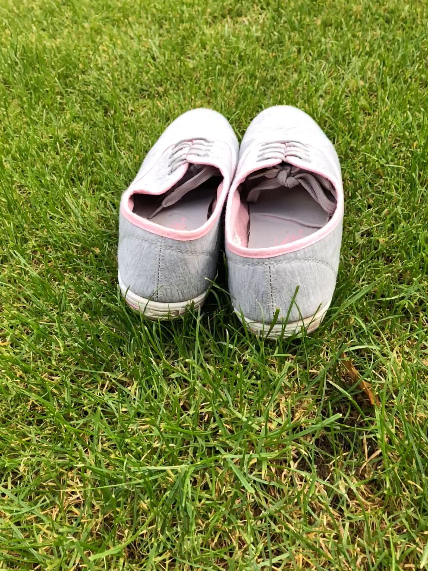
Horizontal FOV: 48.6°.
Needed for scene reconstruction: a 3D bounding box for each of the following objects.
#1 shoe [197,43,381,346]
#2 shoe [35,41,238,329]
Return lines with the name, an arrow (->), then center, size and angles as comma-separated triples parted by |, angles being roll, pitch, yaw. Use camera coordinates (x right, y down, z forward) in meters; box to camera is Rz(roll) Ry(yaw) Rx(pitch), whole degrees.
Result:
shoe -> 0.057, -0.086, 0.378 | 0.100, 0.089, 0.262 | -1, 49, 9
shoe -> -0.041, -0.097, 0.395 | 0.100, 0.089, 0.262 | -1, 49, 9
